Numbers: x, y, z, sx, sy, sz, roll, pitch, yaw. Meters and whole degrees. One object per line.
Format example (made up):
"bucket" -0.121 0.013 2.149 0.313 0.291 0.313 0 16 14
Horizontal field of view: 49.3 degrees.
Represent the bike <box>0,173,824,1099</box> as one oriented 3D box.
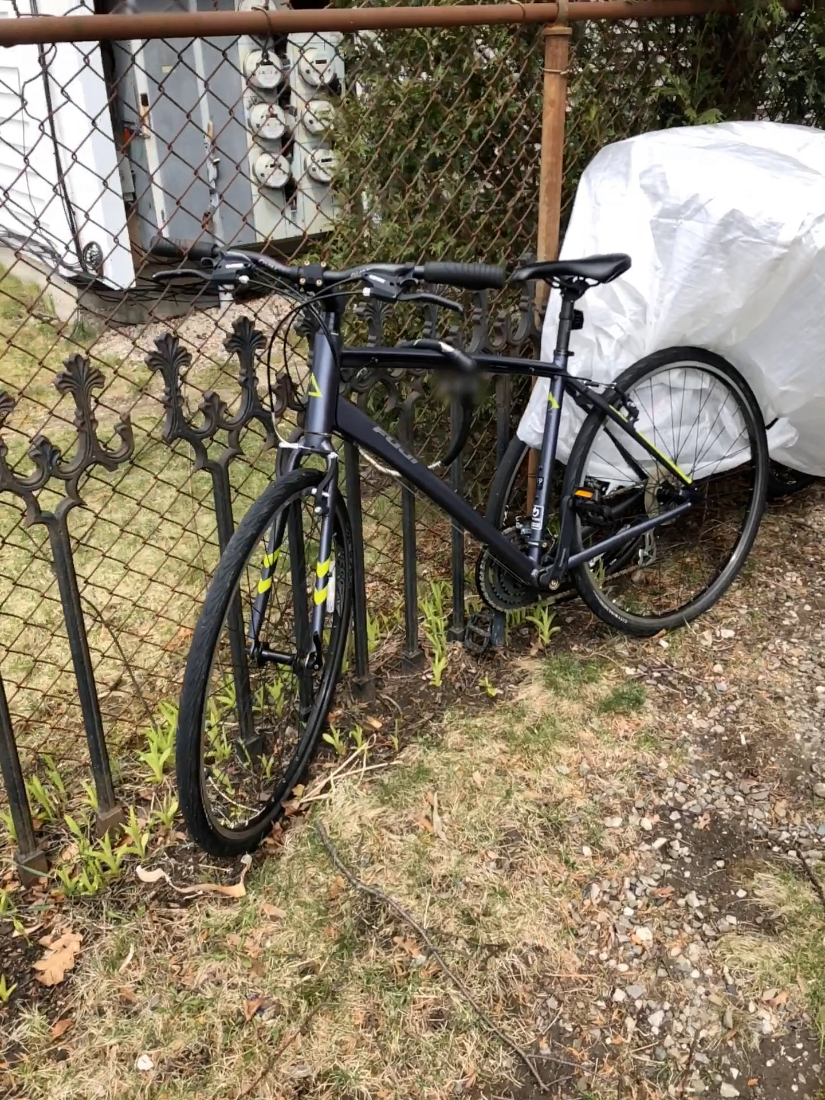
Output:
"bike" 0.342 -0.098 2.081 0.678 1.347 2.202 23 34 35
